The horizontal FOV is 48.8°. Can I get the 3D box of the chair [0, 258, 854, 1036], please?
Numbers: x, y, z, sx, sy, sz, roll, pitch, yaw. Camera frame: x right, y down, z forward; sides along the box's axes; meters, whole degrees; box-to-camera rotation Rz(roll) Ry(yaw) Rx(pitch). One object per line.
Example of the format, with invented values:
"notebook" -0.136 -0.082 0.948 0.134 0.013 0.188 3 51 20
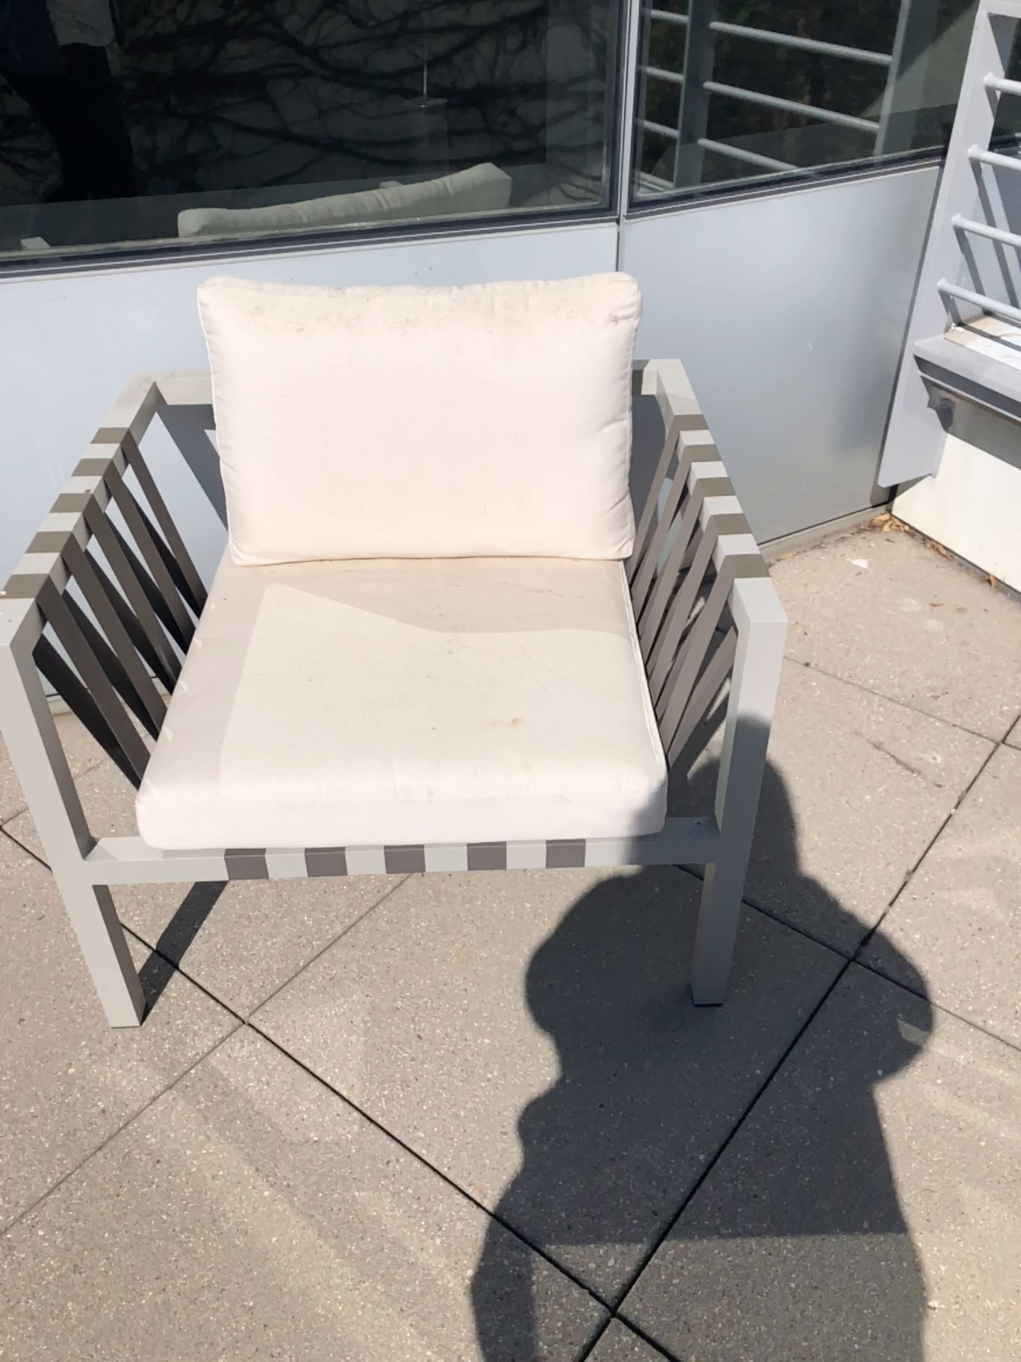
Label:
"chair" -0.133 -0.085 1.561 0.870 0.736 0.784 -2 37 -2
